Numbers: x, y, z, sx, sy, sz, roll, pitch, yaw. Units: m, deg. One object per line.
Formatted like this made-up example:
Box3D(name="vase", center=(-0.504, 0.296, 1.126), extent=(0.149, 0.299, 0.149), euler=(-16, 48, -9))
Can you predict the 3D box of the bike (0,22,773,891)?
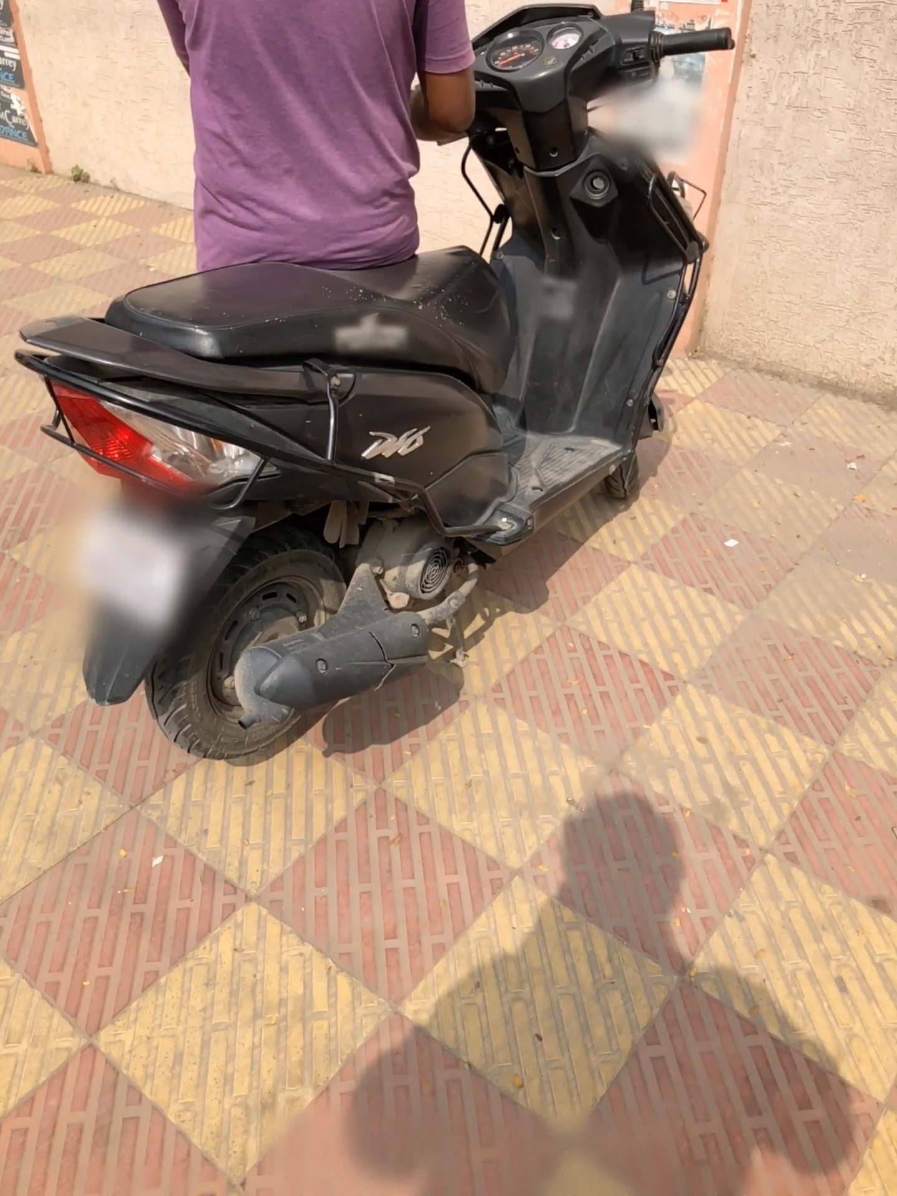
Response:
Box3D(name="bike", center=(0.006, -0.428, 1.829), extent=(0.573, 0.987, 1.515), euler=(21, 40, 25))
